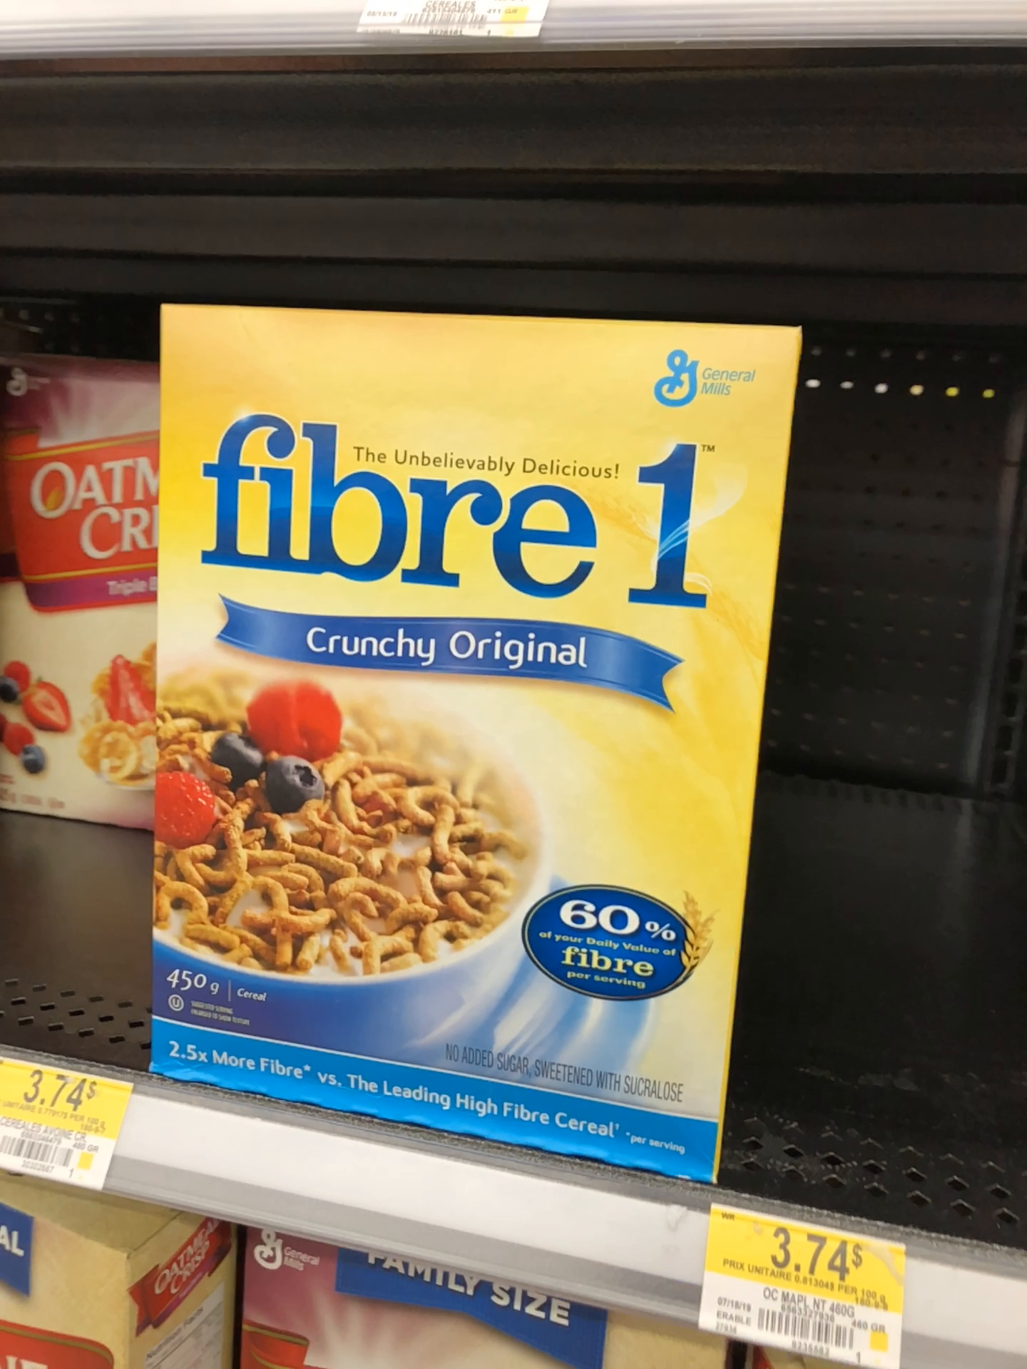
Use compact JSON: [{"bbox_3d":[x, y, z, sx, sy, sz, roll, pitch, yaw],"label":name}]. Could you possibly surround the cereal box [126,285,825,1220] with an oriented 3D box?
[{"bbox_3d":[-0.018,0.014,0.366,0.200,0.259,0.060,6,10,14],"label":"cereal box"}]
